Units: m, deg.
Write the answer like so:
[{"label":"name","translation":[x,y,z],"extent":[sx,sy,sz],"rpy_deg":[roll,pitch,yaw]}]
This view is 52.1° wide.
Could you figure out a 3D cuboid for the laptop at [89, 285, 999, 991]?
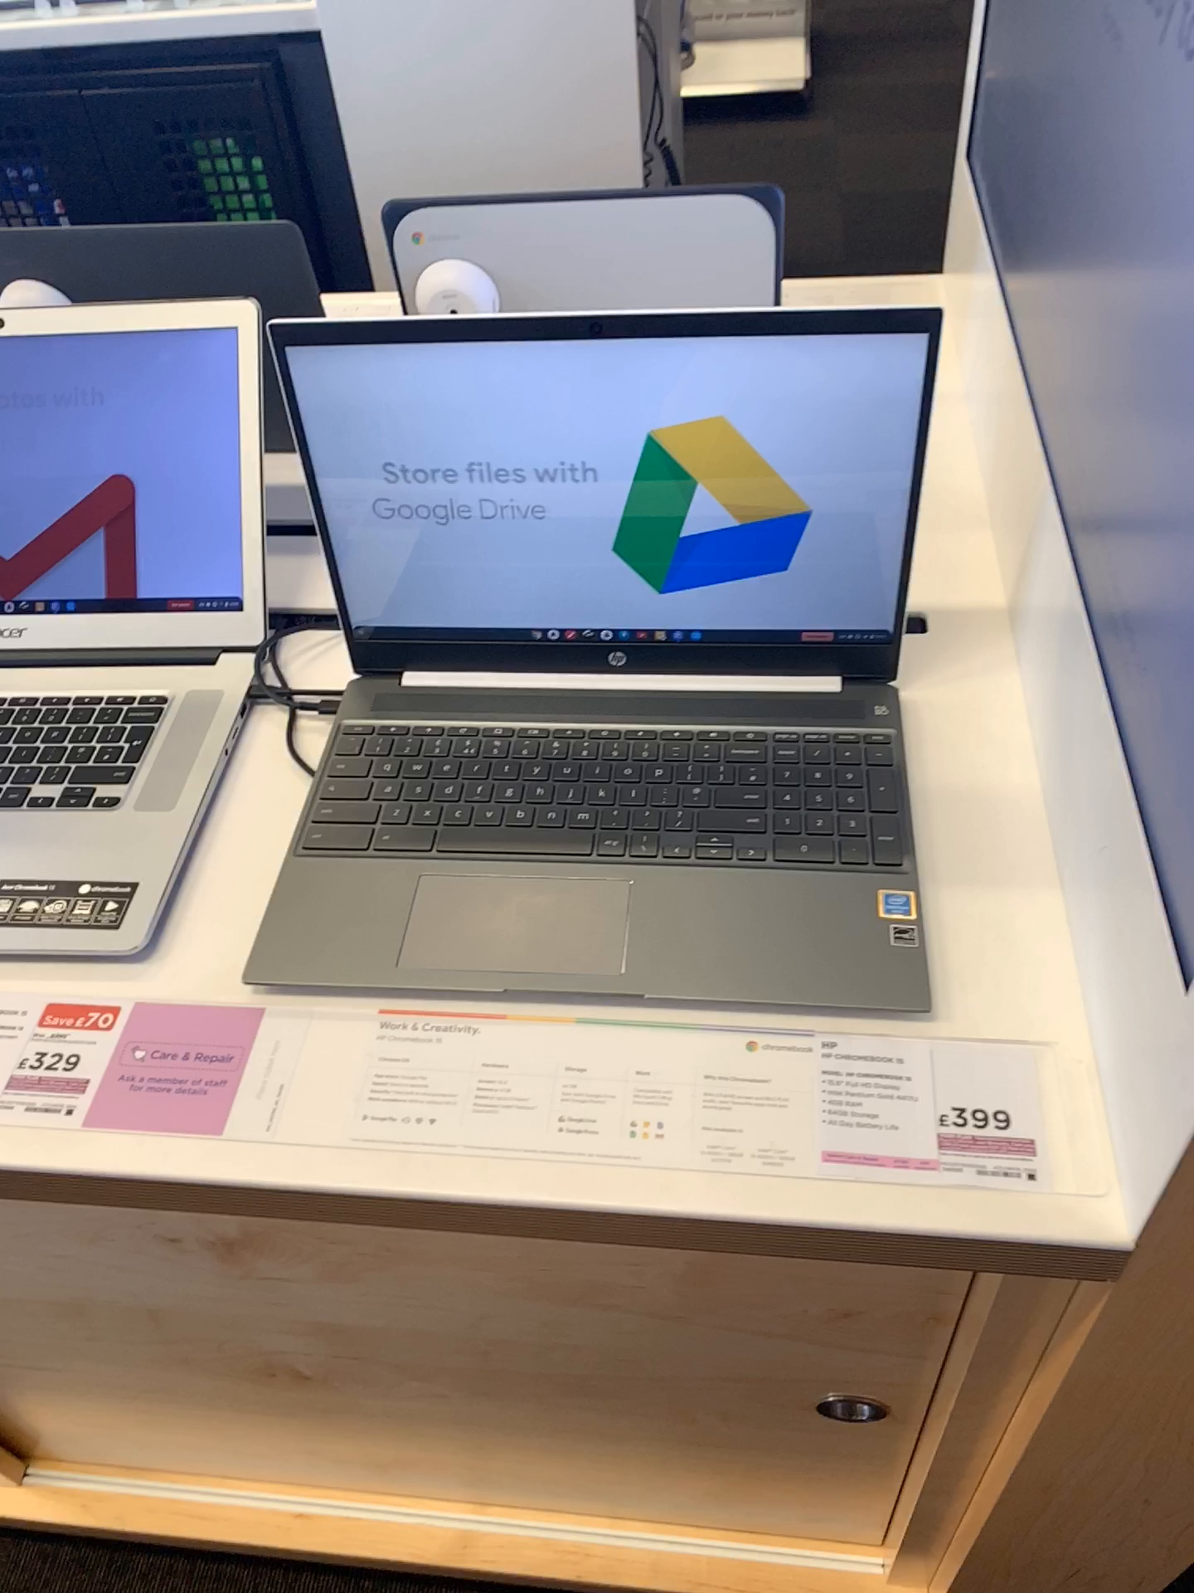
[{"label":"laptop","translation":[-0.008,-0.086,0.634],"extent":[0.351,0.228,0.265],"rpy_deg":[1,47,7]}]
